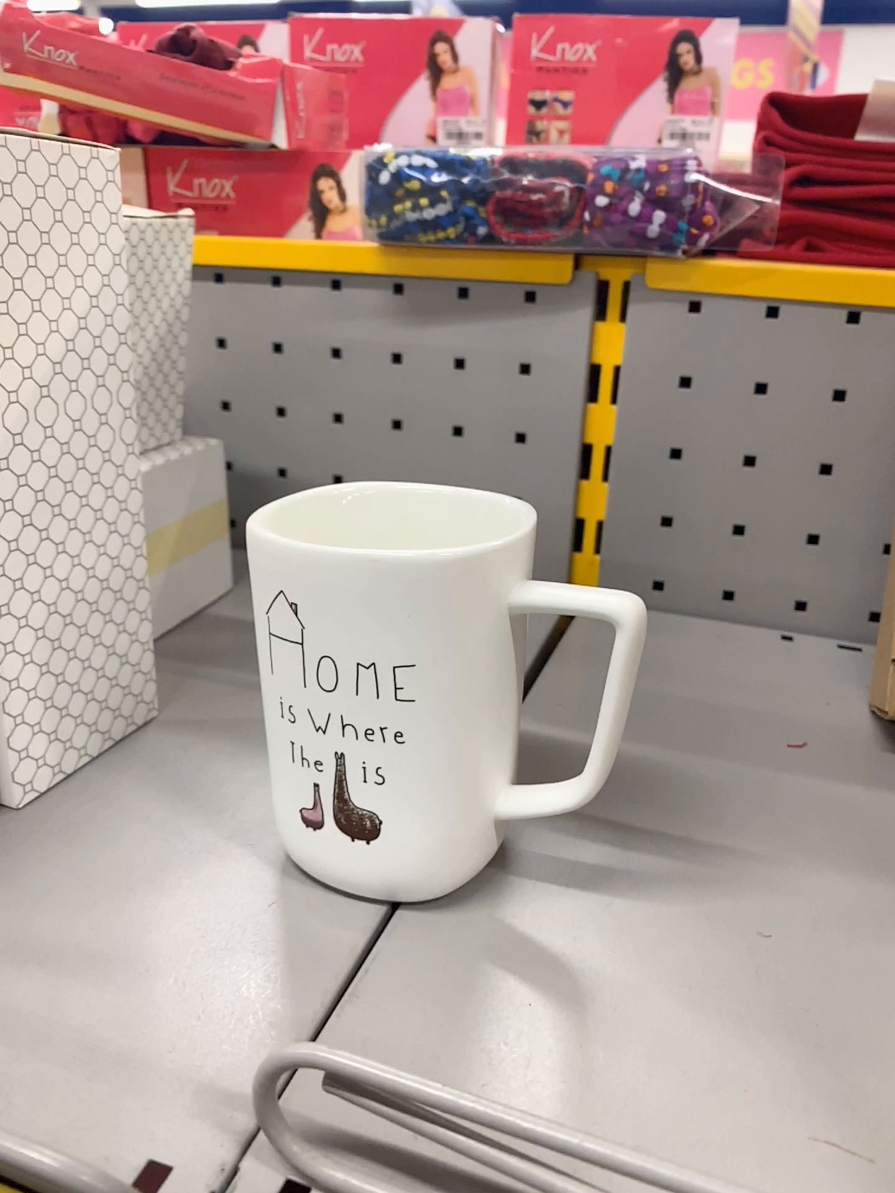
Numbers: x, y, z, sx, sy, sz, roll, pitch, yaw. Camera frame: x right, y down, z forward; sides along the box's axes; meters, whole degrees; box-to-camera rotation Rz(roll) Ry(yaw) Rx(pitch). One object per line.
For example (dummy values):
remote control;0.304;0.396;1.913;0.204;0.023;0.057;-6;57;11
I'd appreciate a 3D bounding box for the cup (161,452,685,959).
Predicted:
cup;-0.004;0.022;0.260;0.120;0.100;0.070;9;22;16
